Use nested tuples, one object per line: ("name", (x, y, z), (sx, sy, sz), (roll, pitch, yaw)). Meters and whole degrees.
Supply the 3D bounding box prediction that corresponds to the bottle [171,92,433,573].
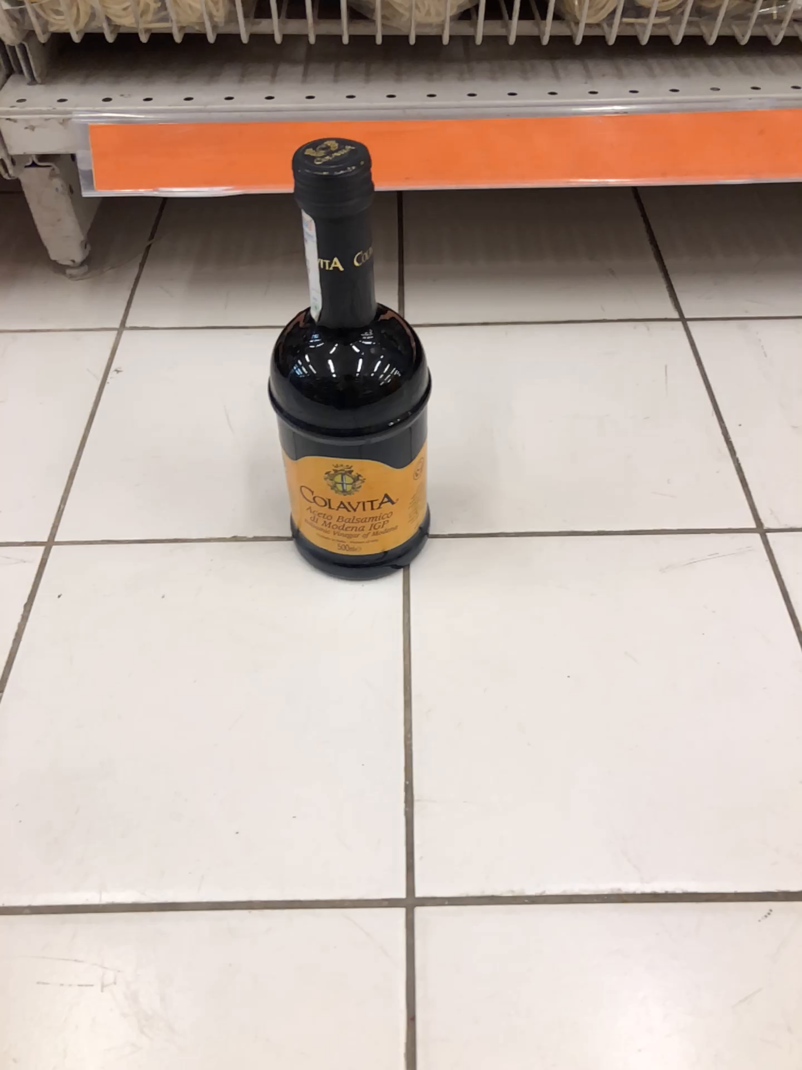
("bottle", (-0.033, -0.082, 0.408), (0.090, 0.199, 0.091), (0, 48, 0))
